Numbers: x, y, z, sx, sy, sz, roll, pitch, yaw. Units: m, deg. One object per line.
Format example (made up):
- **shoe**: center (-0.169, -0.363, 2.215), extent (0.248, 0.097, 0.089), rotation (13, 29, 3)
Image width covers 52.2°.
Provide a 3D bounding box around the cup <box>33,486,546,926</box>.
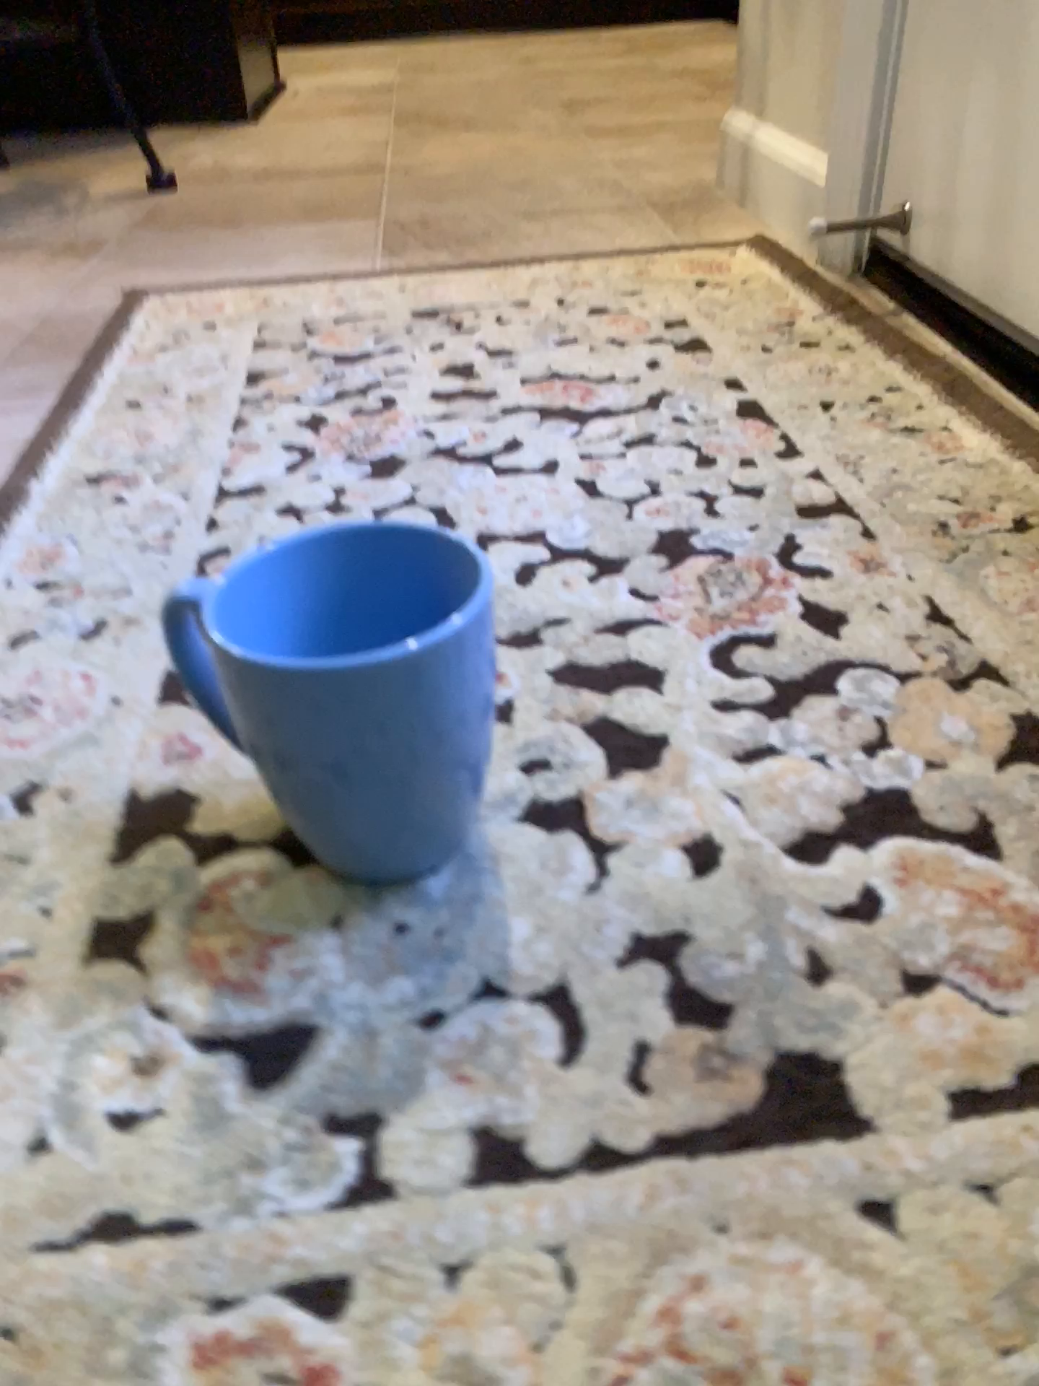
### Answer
- **cup**: center (-0.063, -0.001, 0.341), extent (0.120, 0.089, 0.091), rotation (8, 37, 16)
